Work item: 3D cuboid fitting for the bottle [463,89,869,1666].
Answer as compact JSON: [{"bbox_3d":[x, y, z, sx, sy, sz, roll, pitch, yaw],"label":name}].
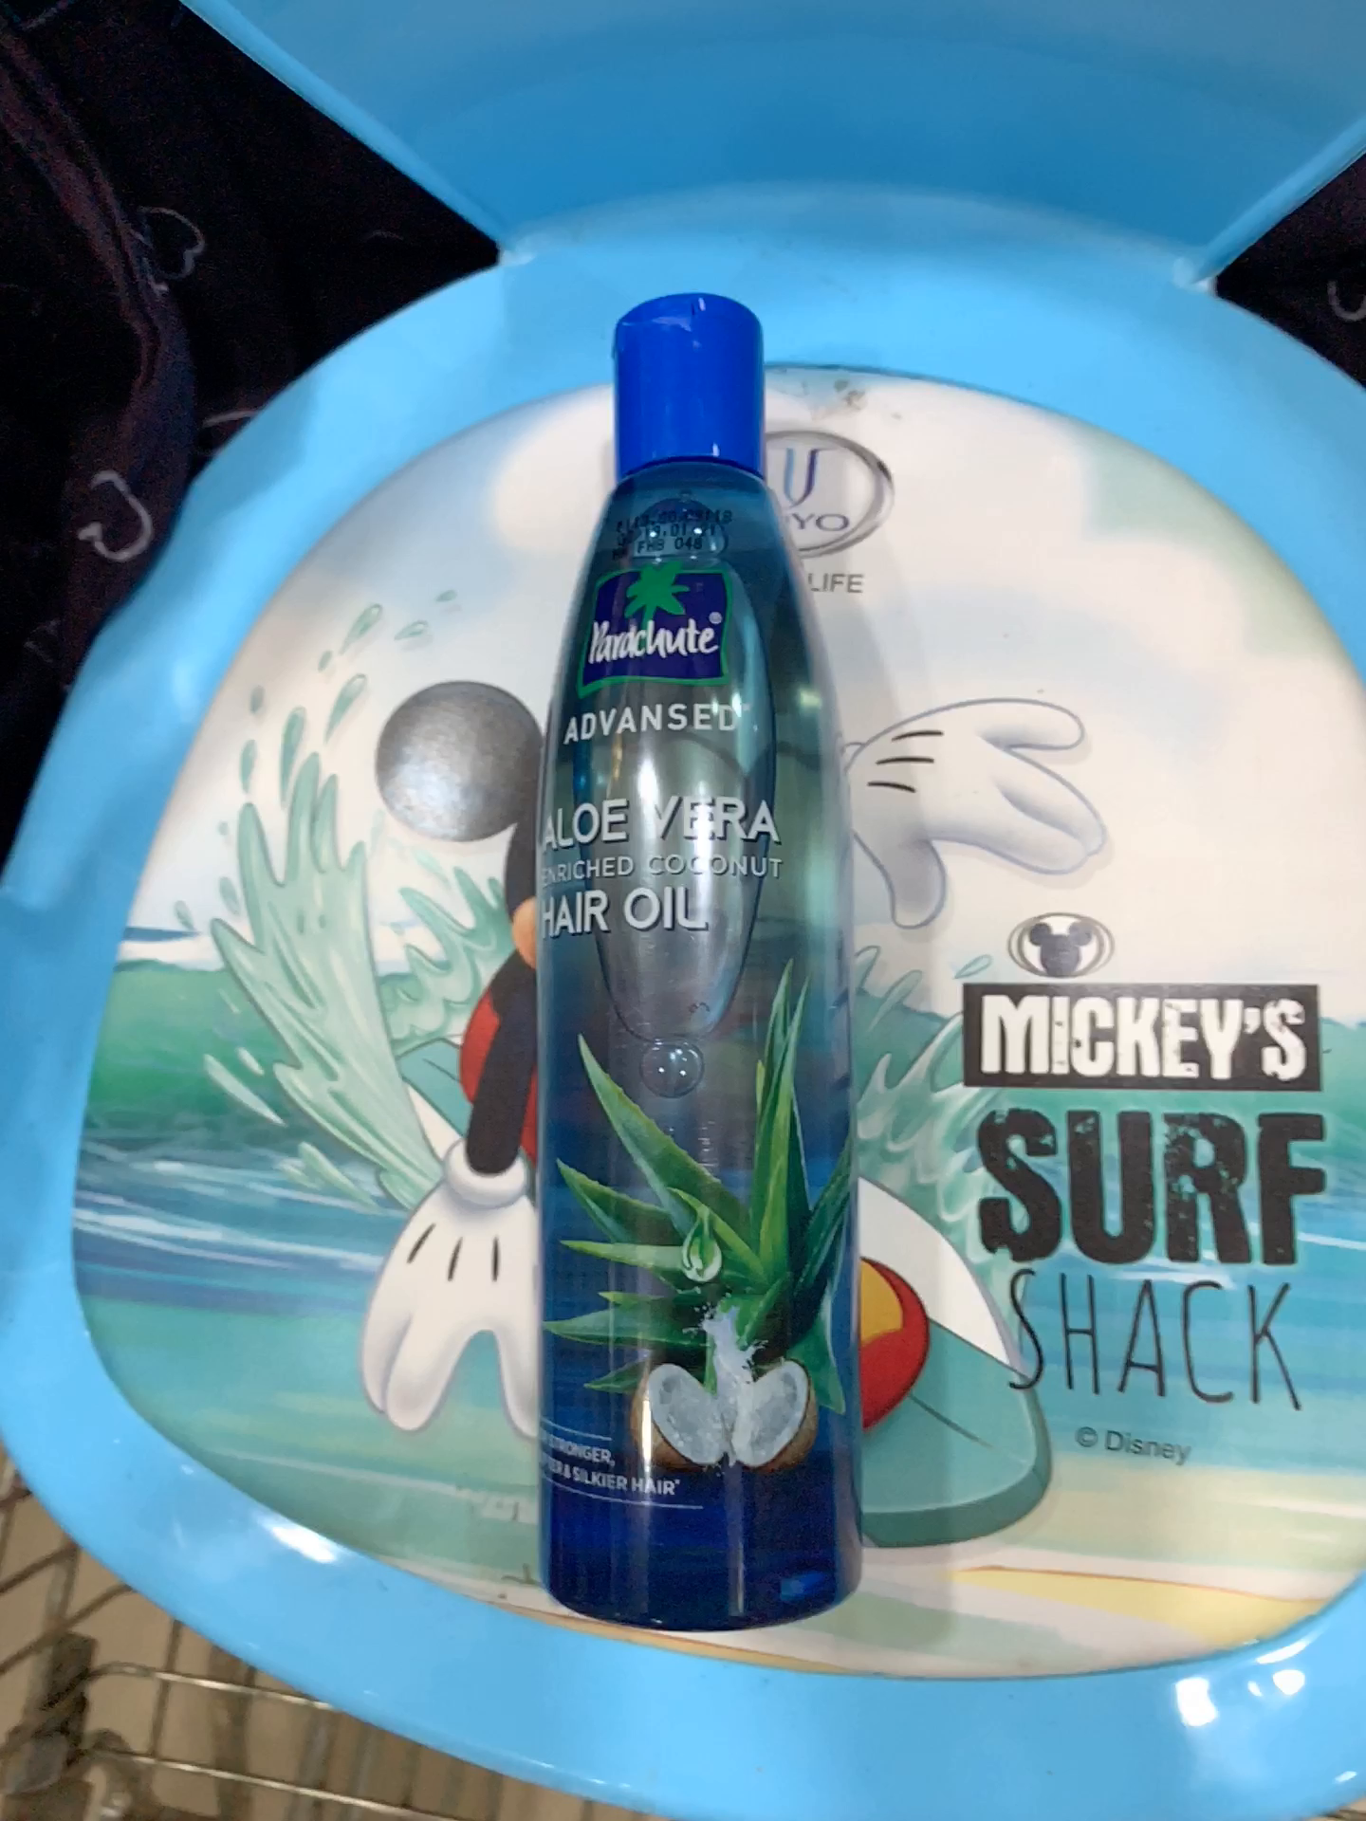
[{"bbox_3d":[0.001,-0.006,0.209,0.050,0.050,0.200,0,87,9],"label":"bottle"}]
